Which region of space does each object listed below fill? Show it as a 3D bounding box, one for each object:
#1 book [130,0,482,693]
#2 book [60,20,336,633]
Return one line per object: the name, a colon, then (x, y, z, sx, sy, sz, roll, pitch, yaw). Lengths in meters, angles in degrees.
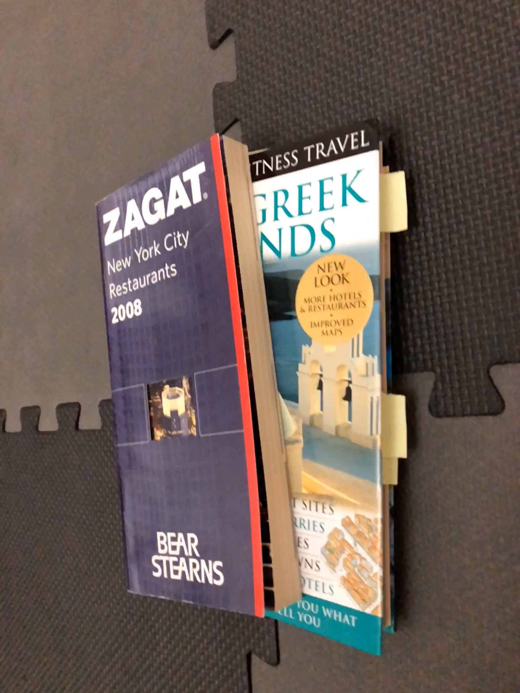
book: (0.008, 0.002, 0.266, 0.170, 0.030, 0.260, 1, 89, 40)
book: (-0.044, -0.005, 0.287, 0.150, 0.020, 0.250, -11, 82, 40)
